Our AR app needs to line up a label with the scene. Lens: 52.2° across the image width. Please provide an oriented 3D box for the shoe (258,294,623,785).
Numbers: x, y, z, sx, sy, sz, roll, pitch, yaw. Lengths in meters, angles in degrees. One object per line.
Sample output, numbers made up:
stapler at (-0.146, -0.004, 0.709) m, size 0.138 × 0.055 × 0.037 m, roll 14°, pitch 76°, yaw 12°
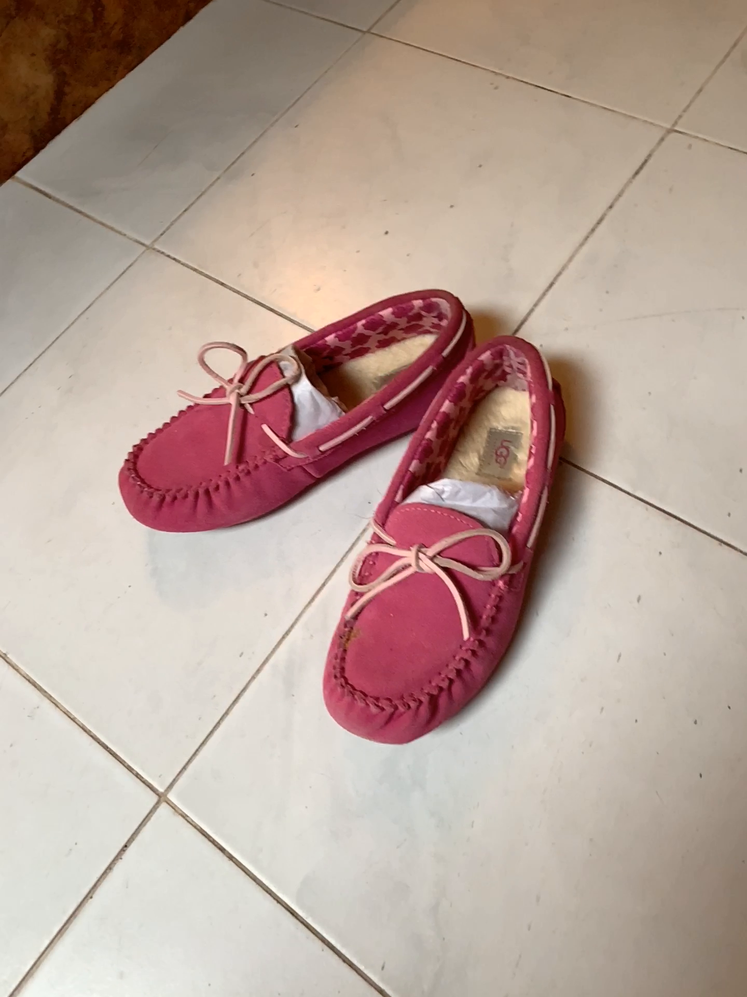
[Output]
shoe at (0.044, 0.016, 0.400) m, size 0.090 × 0.083 × 0.227 m, roll 20°, pitch 68°, yaw 18°

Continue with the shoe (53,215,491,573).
shoe at (-0.053, -0.061, 0.452) m, size 0.227 × 0.083 × 0.090 m, roll -28°, pitch 62°, yaw -5°
